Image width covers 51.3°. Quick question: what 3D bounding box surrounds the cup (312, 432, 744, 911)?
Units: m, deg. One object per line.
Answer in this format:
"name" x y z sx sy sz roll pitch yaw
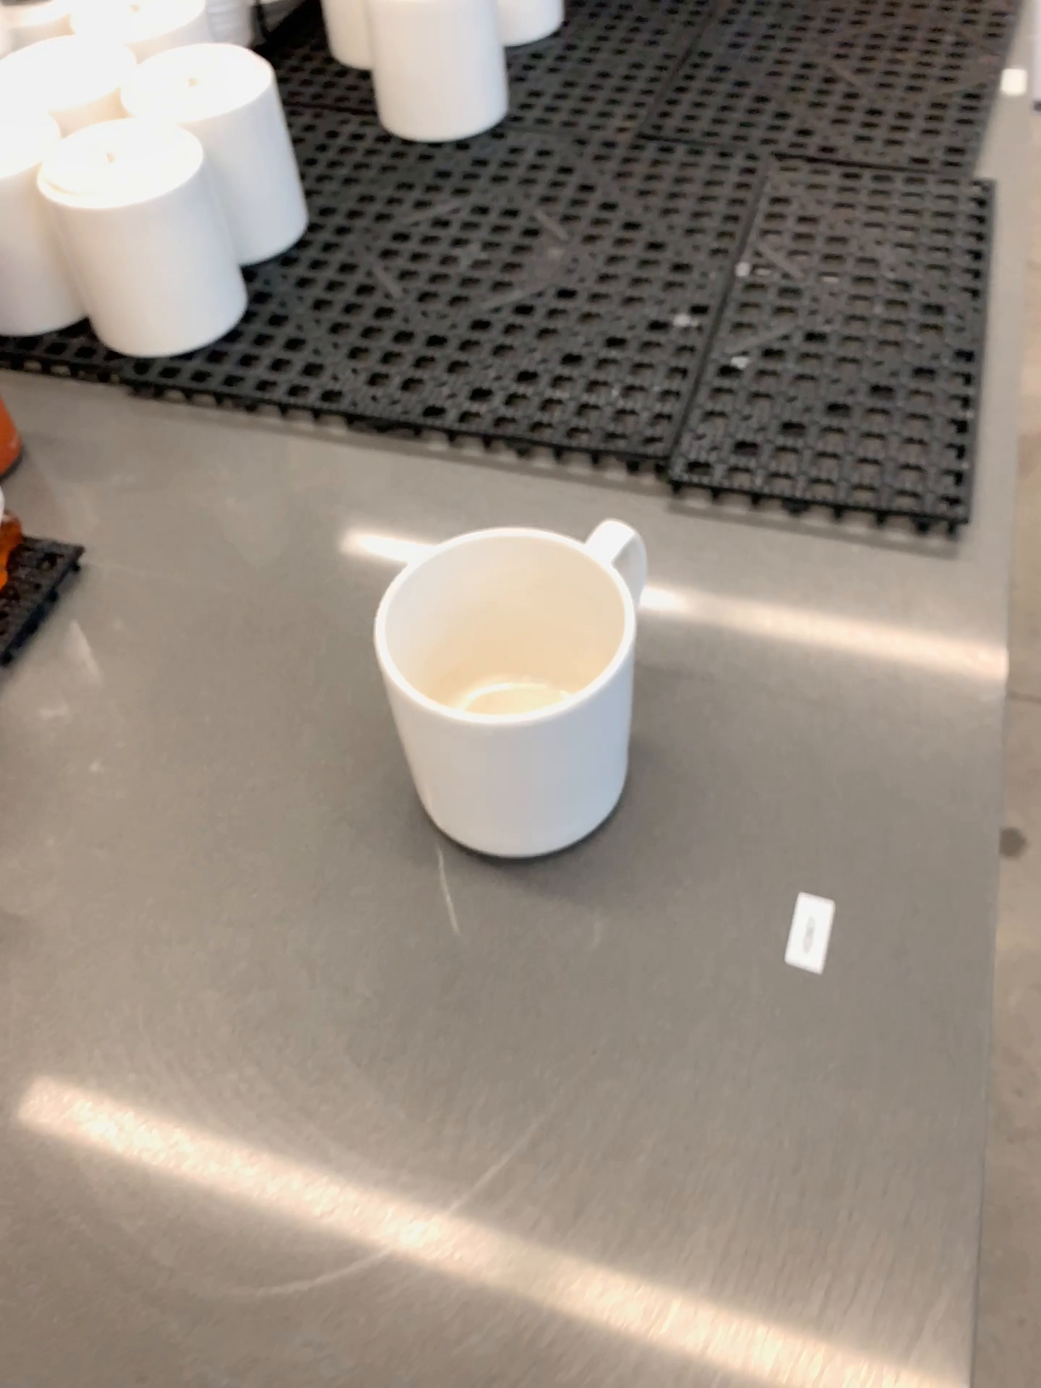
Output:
"cup" 0.007 -0.011 0.392 0.090 0.090 0.120 27 59 23
